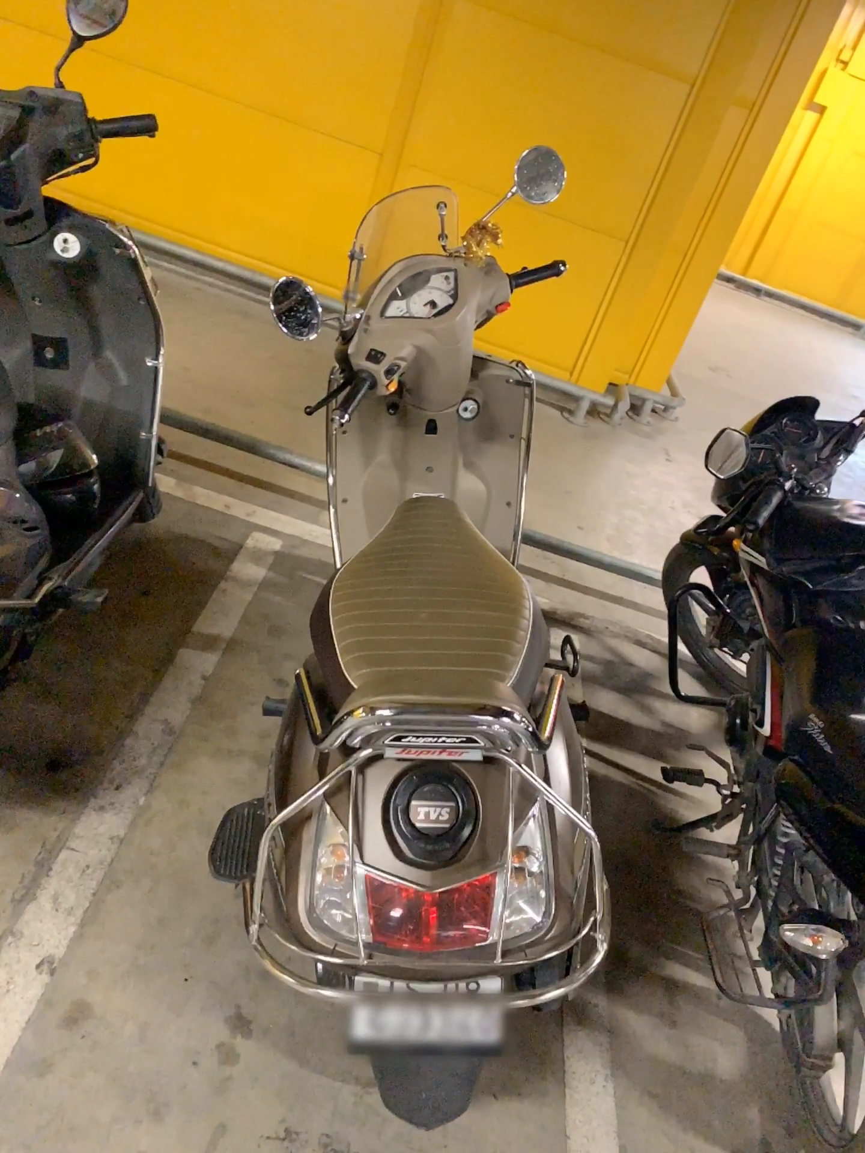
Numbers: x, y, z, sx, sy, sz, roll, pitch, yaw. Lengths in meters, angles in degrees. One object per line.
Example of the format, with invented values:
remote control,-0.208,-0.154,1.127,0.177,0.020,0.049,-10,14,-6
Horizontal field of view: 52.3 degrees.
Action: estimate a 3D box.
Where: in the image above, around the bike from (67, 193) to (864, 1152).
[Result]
bike,-0.139,0.011,1.657,0.603,1.027,1.561,12,29,-14
